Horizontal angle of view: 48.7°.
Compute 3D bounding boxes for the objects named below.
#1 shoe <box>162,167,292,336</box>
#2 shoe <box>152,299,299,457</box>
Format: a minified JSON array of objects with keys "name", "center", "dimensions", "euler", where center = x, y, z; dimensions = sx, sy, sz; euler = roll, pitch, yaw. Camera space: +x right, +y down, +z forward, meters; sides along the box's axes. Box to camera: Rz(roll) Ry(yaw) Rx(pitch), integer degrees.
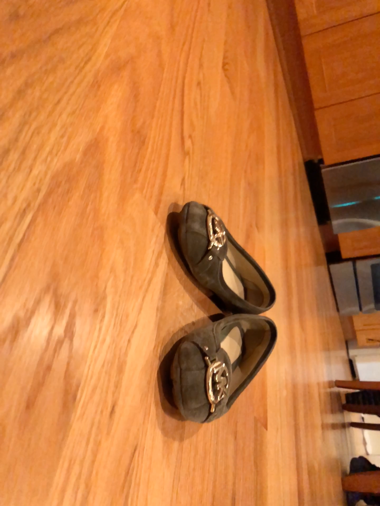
[{"name":"shoe","center":[0.058,0.016,0.506],"dimensions":[0.240,0.079,0.091],"euler":[50,36,-53]},{"name":"shoe","center":[0.055,0.114,0.447],"dimensions":[0.243,0.079,0.091],"euler":[-3,84,-69]}]
